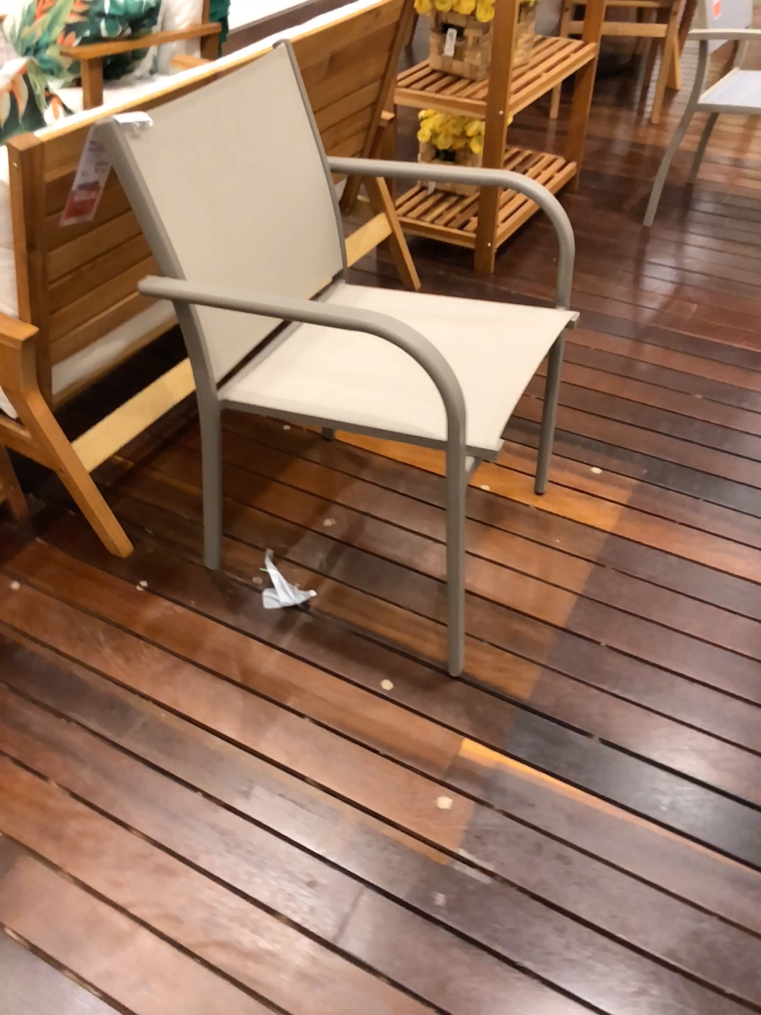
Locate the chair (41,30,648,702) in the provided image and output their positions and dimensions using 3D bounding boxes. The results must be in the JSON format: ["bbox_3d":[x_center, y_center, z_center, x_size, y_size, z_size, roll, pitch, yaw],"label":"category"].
[{"bbox_3d":[-0.010,-0.256,1.408,0.611,0.794,0.624,18,45,19],"label":"chair"}]
